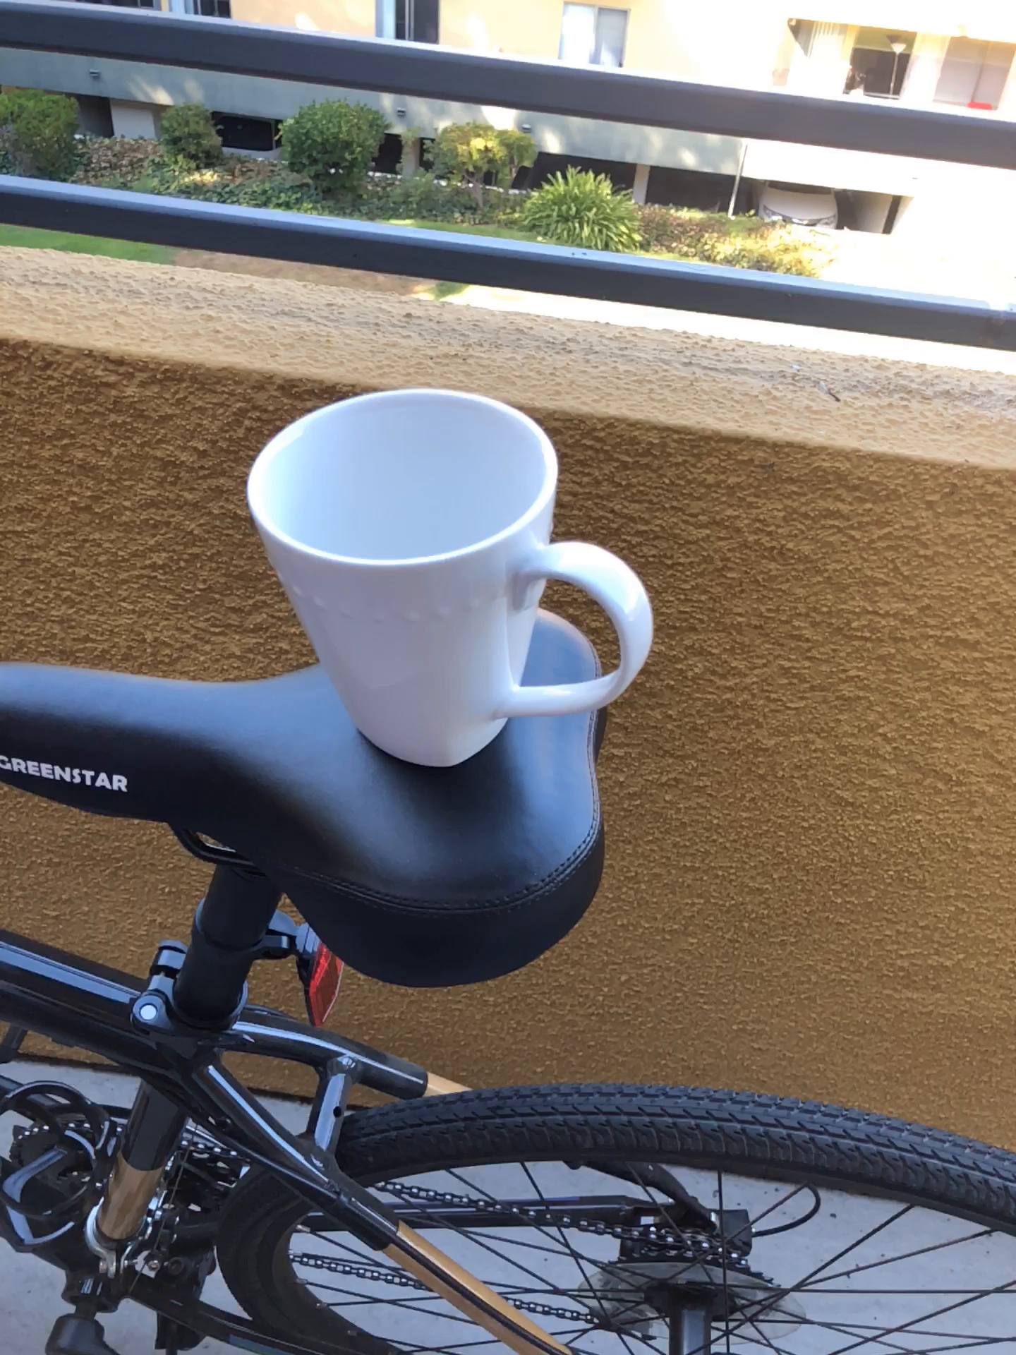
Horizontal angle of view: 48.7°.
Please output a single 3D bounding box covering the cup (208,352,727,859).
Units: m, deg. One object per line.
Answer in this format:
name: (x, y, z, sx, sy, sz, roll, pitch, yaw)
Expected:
cup: (-0.013, -0.028, 0.371, 0.130, 0.100, 0.090, 20, 43, 16)
